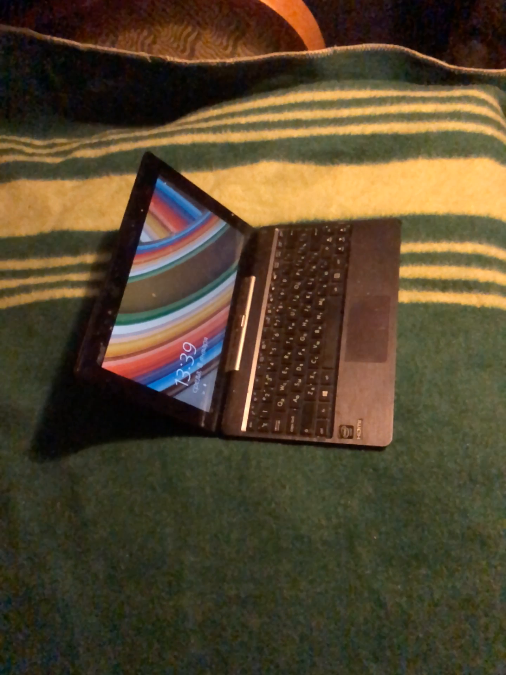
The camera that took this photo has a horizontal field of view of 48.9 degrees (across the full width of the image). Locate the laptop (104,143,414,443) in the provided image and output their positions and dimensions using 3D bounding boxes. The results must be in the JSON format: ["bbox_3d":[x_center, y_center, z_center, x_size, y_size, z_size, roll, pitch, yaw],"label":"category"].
[{"bbox_3d":[0.017,-0.046,0.561,0.257,0.116,0.257,2,63,15],"label":"laptop"}]
